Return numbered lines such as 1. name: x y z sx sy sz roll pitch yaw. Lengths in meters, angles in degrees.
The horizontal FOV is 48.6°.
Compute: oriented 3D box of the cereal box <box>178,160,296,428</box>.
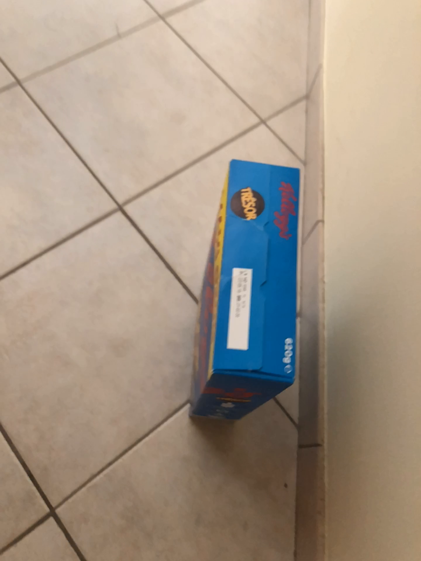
1. cereal box: 0.016 0.044 0.505 0.070 0.299 0.191 8 67 -3
